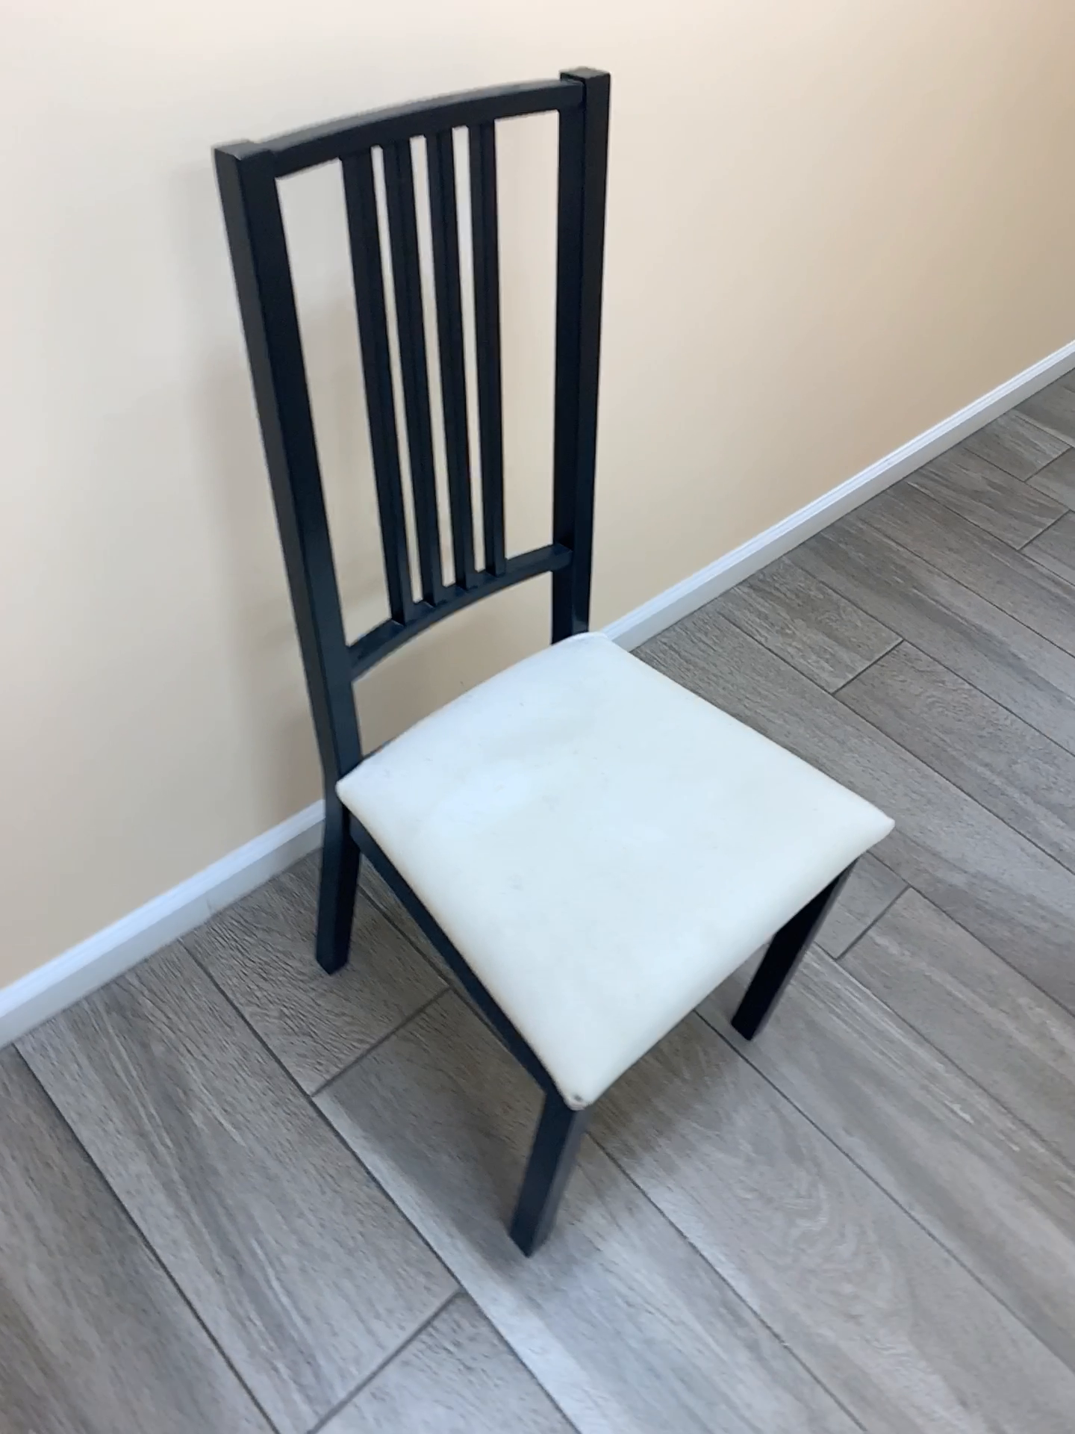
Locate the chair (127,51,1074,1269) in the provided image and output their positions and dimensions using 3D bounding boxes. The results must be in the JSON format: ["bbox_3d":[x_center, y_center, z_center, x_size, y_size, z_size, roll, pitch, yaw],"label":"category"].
[{"bbox_3d":[0.025,0.021,1.031,0.440,0.962,0.498,-33,60,-31],"label":"chair"}]
